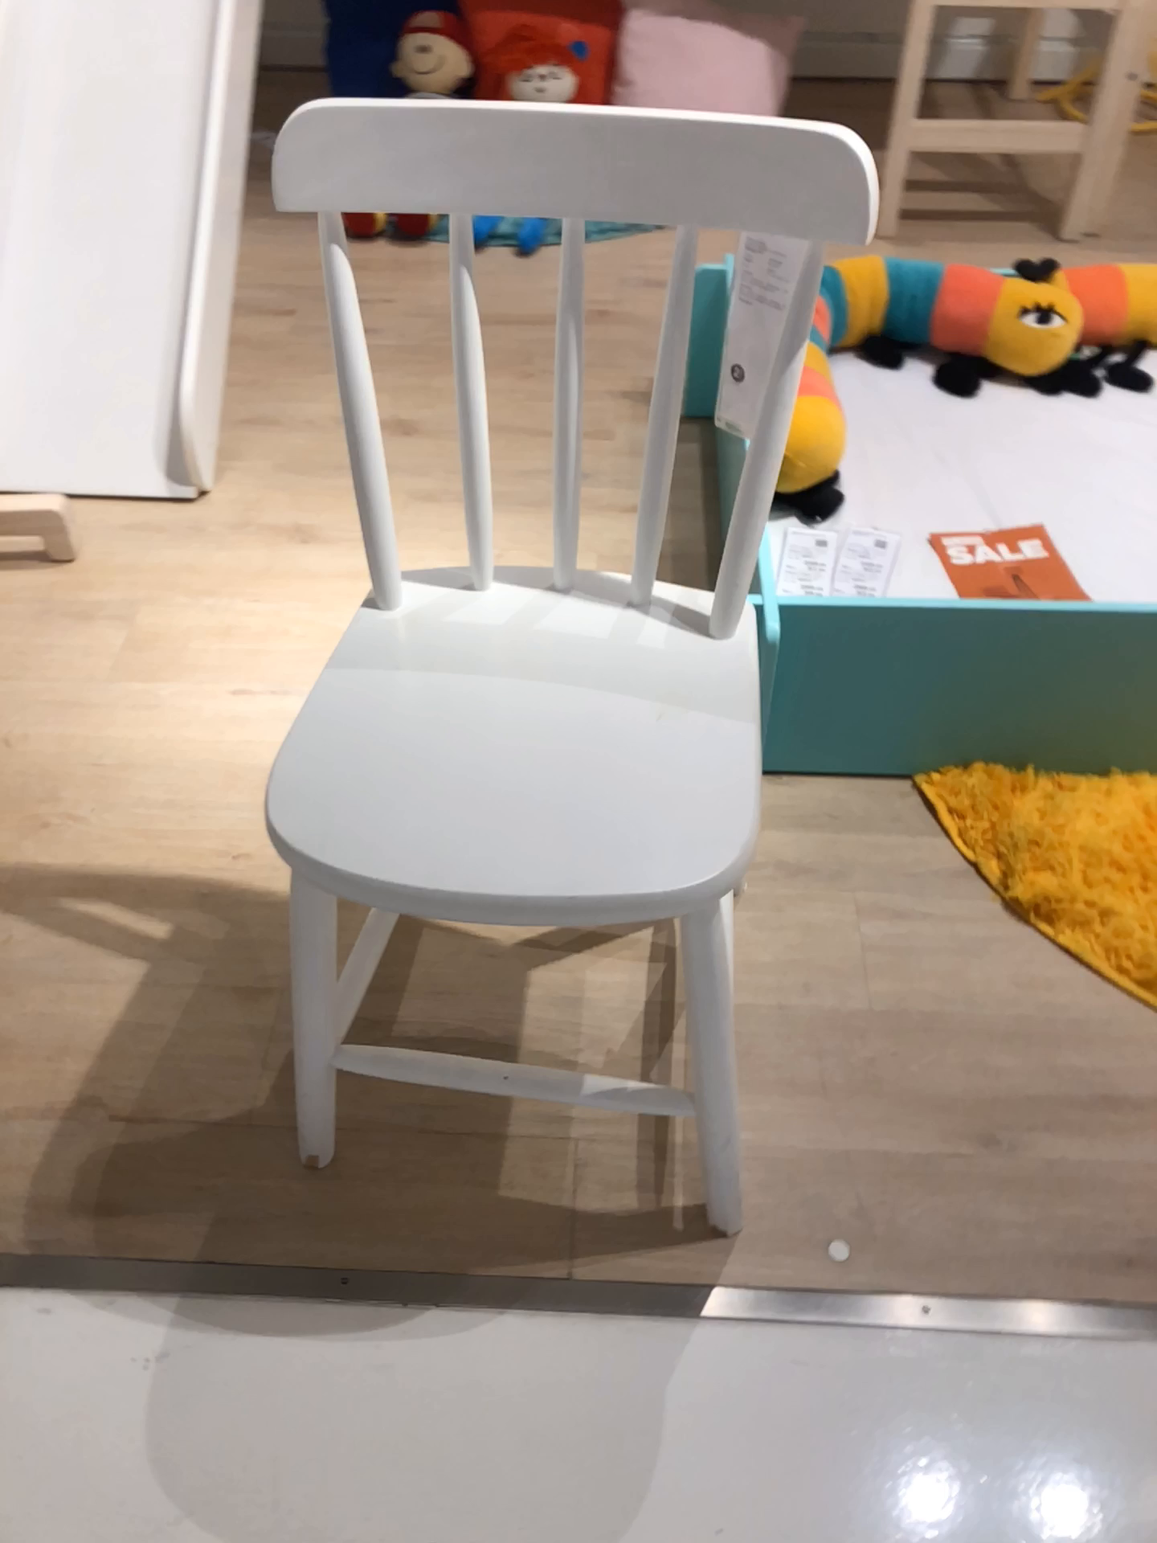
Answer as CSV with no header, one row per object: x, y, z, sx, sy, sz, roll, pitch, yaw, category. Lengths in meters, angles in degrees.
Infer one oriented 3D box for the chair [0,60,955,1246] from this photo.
-0.032,-0.047,0.966,0.440,0.754,0.433,6,45,6,chair
